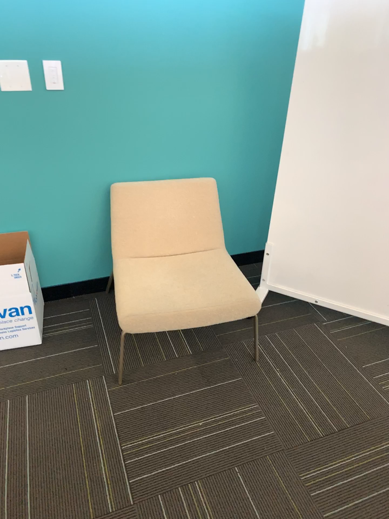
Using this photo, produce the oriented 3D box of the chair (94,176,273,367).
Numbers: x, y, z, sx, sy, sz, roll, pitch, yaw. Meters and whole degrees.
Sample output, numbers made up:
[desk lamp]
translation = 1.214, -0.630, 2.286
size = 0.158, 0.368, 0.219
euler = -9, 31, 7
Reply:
[chair]
translation = -0.110, 0.002, 1.962
size = 0.660, 0.567, 0.734
euler = -7, 32, -14
